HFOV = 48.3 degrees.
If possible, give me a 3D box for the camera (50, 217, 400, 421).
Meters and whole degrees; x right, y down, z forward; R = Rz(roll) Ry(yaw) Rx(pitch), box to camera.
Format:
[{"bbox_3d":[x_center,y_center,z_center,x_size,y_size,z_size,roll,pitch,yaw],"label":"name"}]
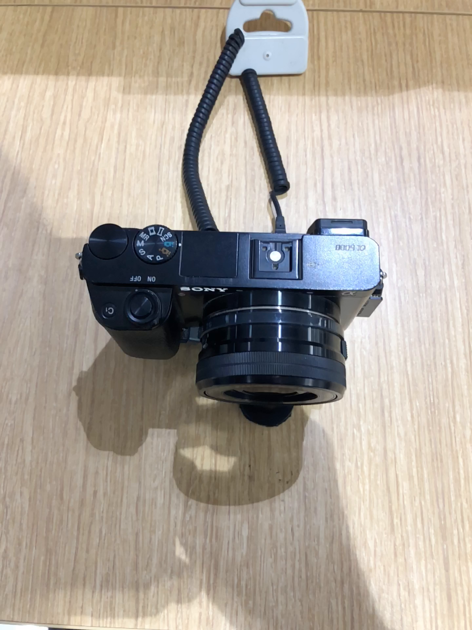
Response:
[{"bbox_3d":[-0.003,0.006,0.204,0.107,0.070,0.059,1,71,0],"label":"camera"}]
